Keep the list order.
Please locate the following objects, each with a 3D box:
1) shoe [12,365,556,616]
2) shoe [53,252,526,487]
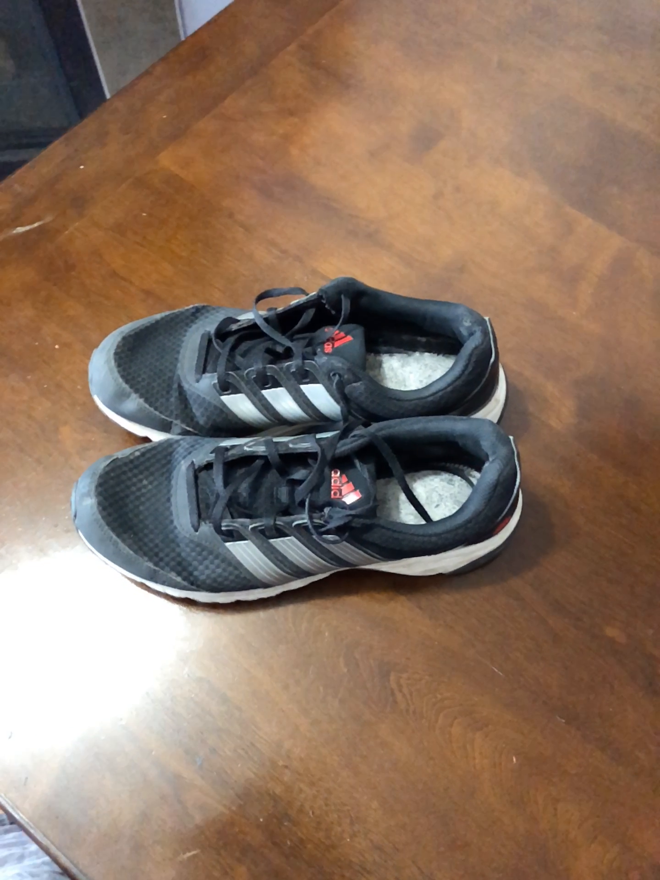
[{"bbox_3d":[-0.025,0.039,0.474,0.290,0.130,0.120,1,65,-1],"label":"shoe"},{"bbox_3d":[-0.025,-0.046,0.528,0.290,0.120,0.120,1,65,-1],"label":"shoe"}]
